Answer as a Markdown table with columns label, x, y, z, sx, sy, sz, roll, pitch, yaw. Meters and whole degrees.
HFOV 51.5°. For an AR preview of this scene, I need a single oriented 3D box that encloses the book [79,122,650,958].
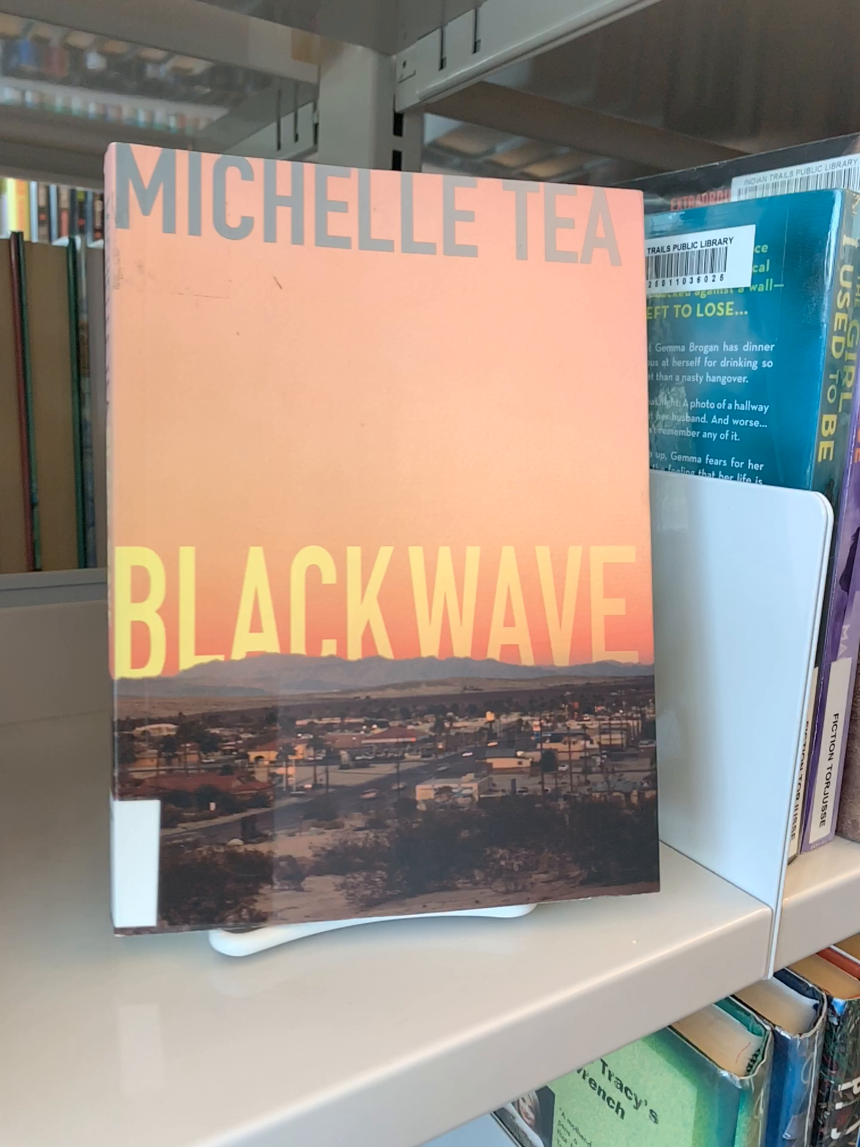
| label | x | y | z | sx | sy | sz | roll | pitch | yaw |
| --- | --- | --- | --- | --- | --- | --- | --- | --- | --- |
| book | -0.016 | -0.008 | 0.246 | 0.147 | 0.201 | 0.036 | 0 | 0 | -11 |
